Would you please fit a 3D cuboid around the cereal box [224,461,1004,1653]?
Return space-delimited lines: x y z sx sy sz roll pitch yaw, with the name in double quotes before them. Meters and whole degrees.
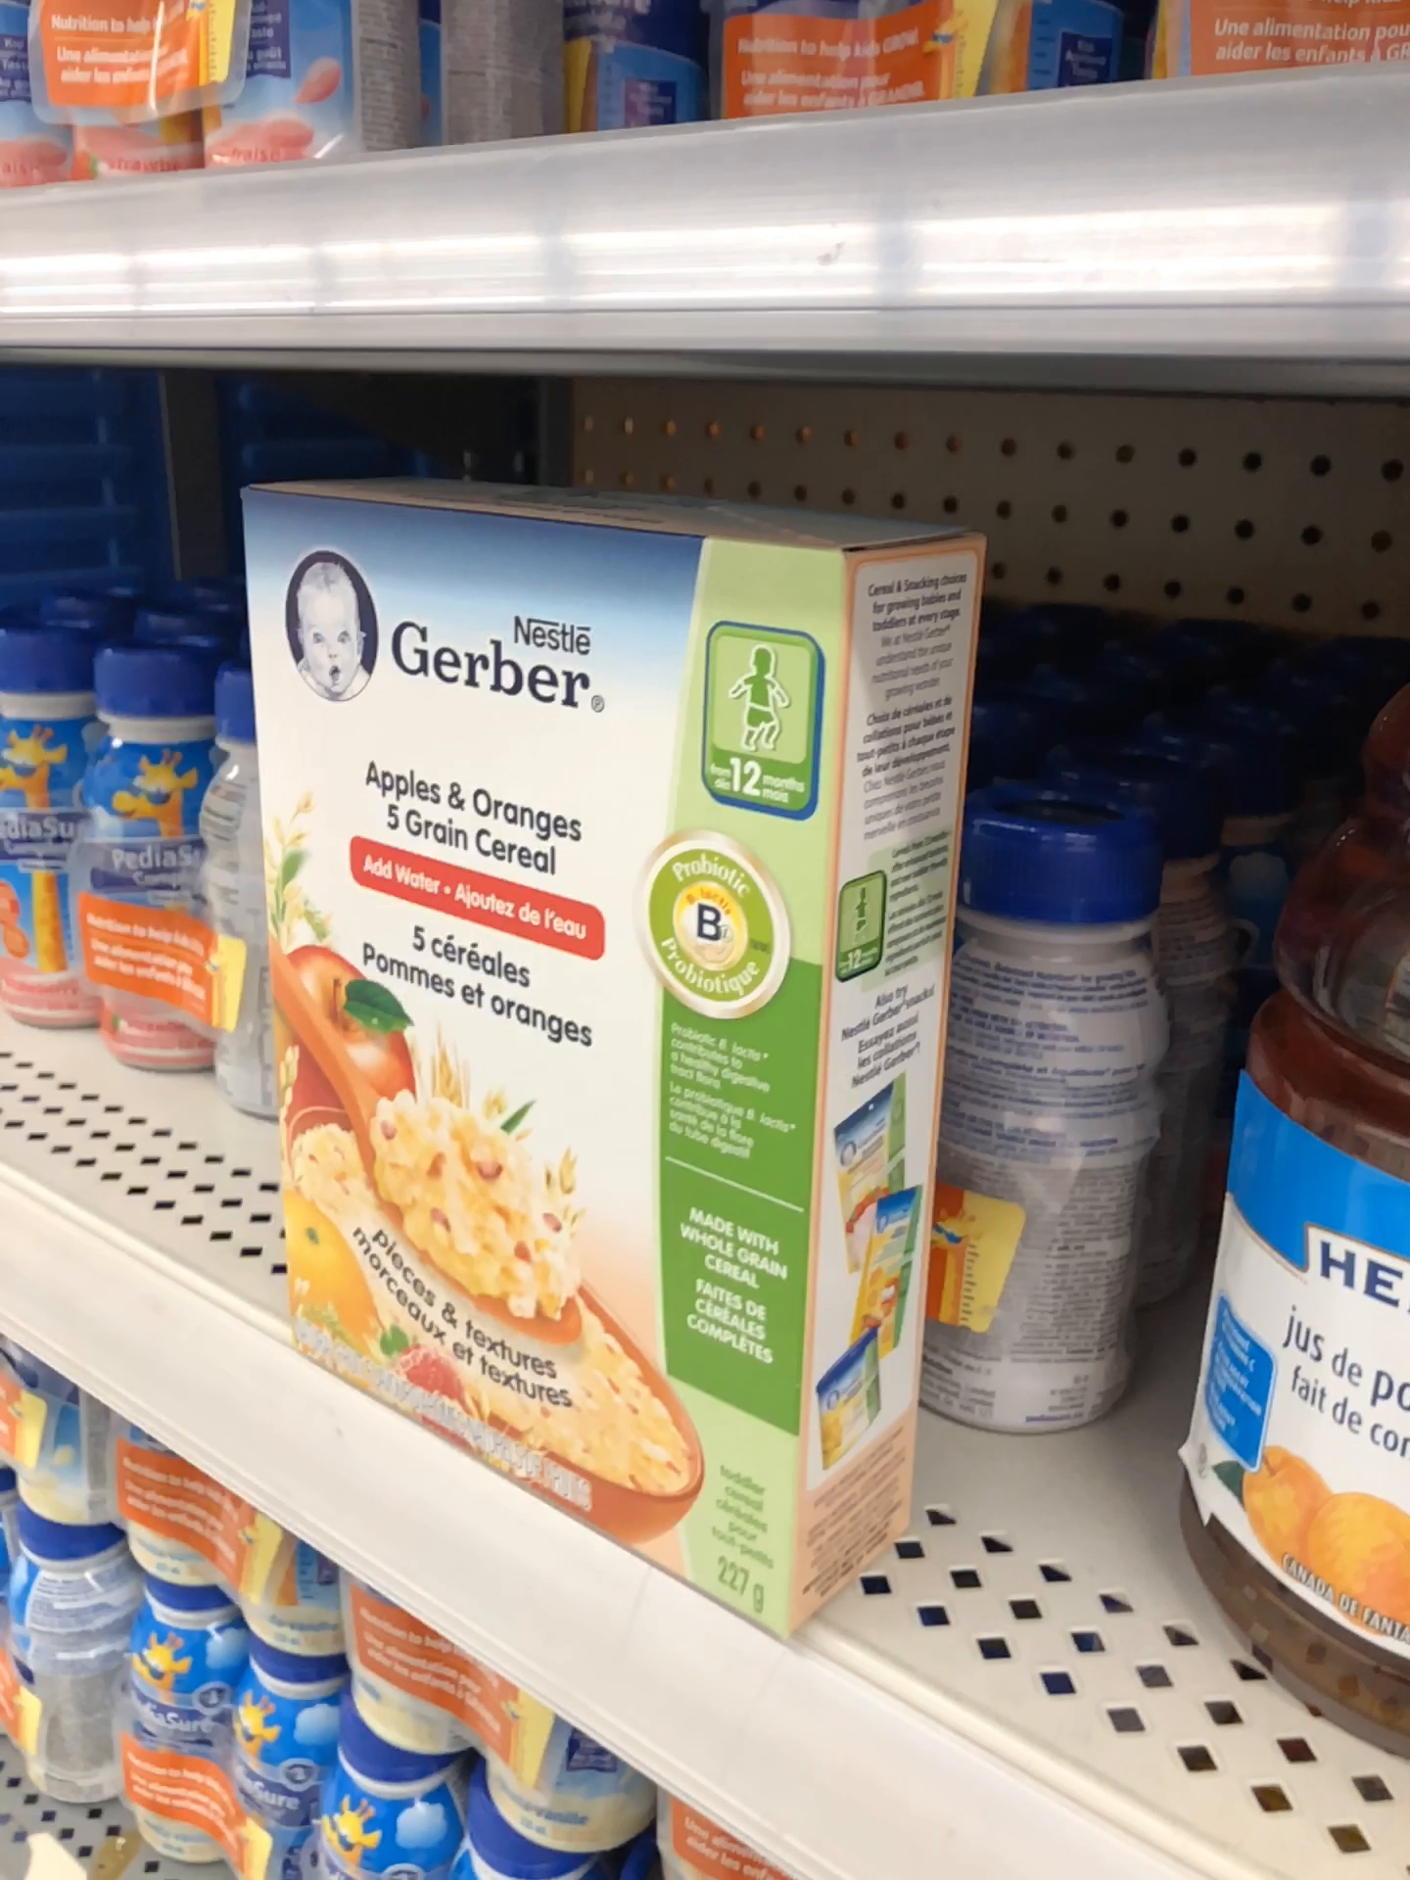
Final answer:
"cereal box" -0.025 0.014 0.312 0.140 0.199 0.050 16 24 34
